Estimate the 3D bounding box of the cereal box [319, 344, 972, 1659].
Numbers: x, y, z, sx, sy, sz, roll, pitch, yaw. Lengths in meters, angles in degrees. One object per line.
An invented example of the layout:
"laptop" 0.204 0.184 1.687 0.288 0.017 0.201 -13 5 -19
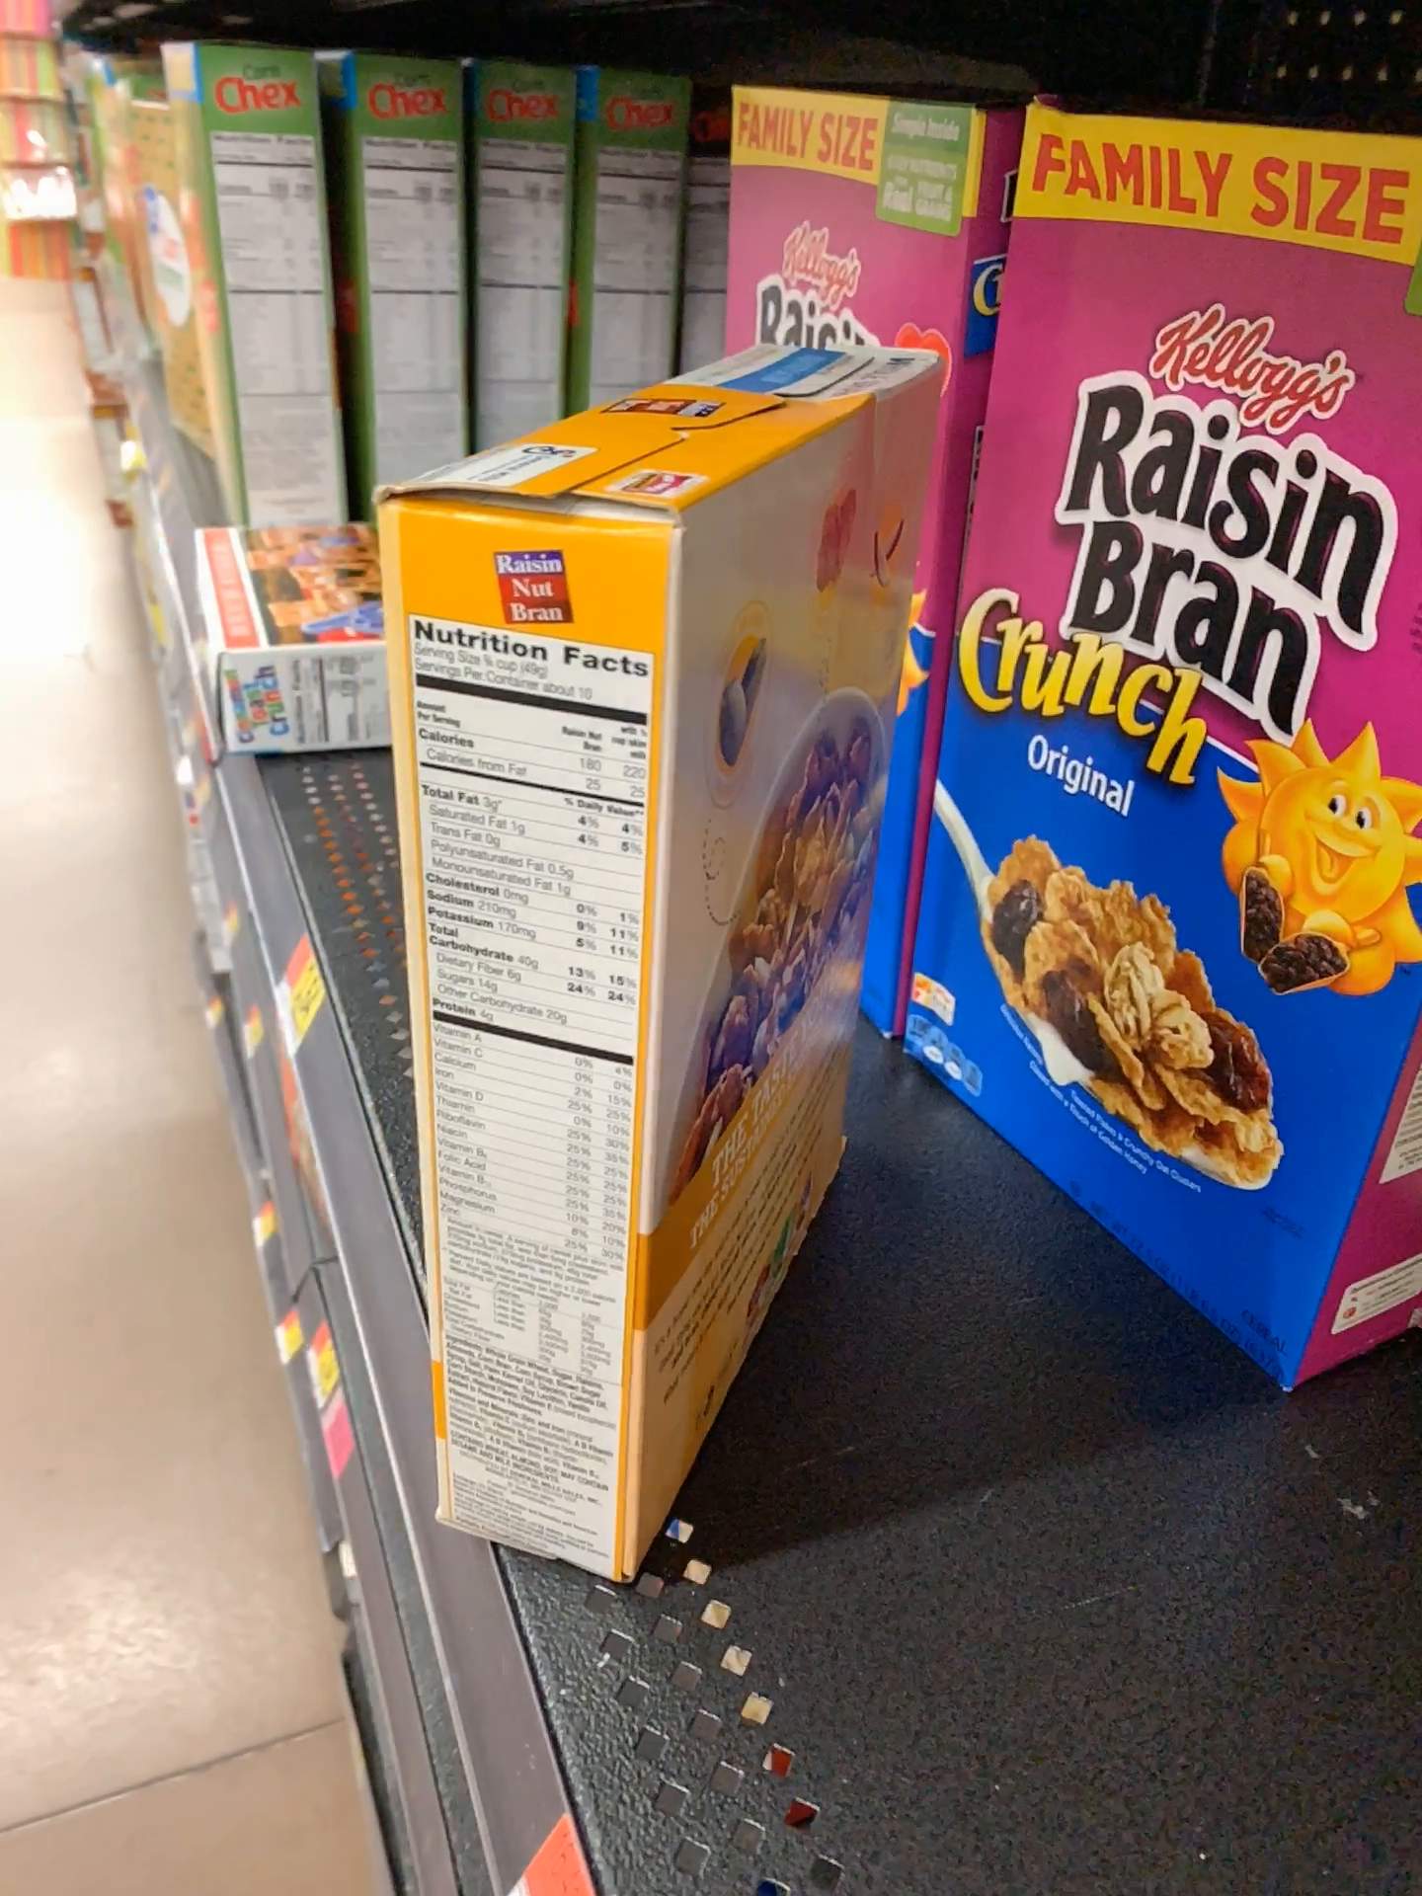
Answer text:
"cereal box" -0.004 0.003 0.369 0.060 0.259 0.201 14 32 17
